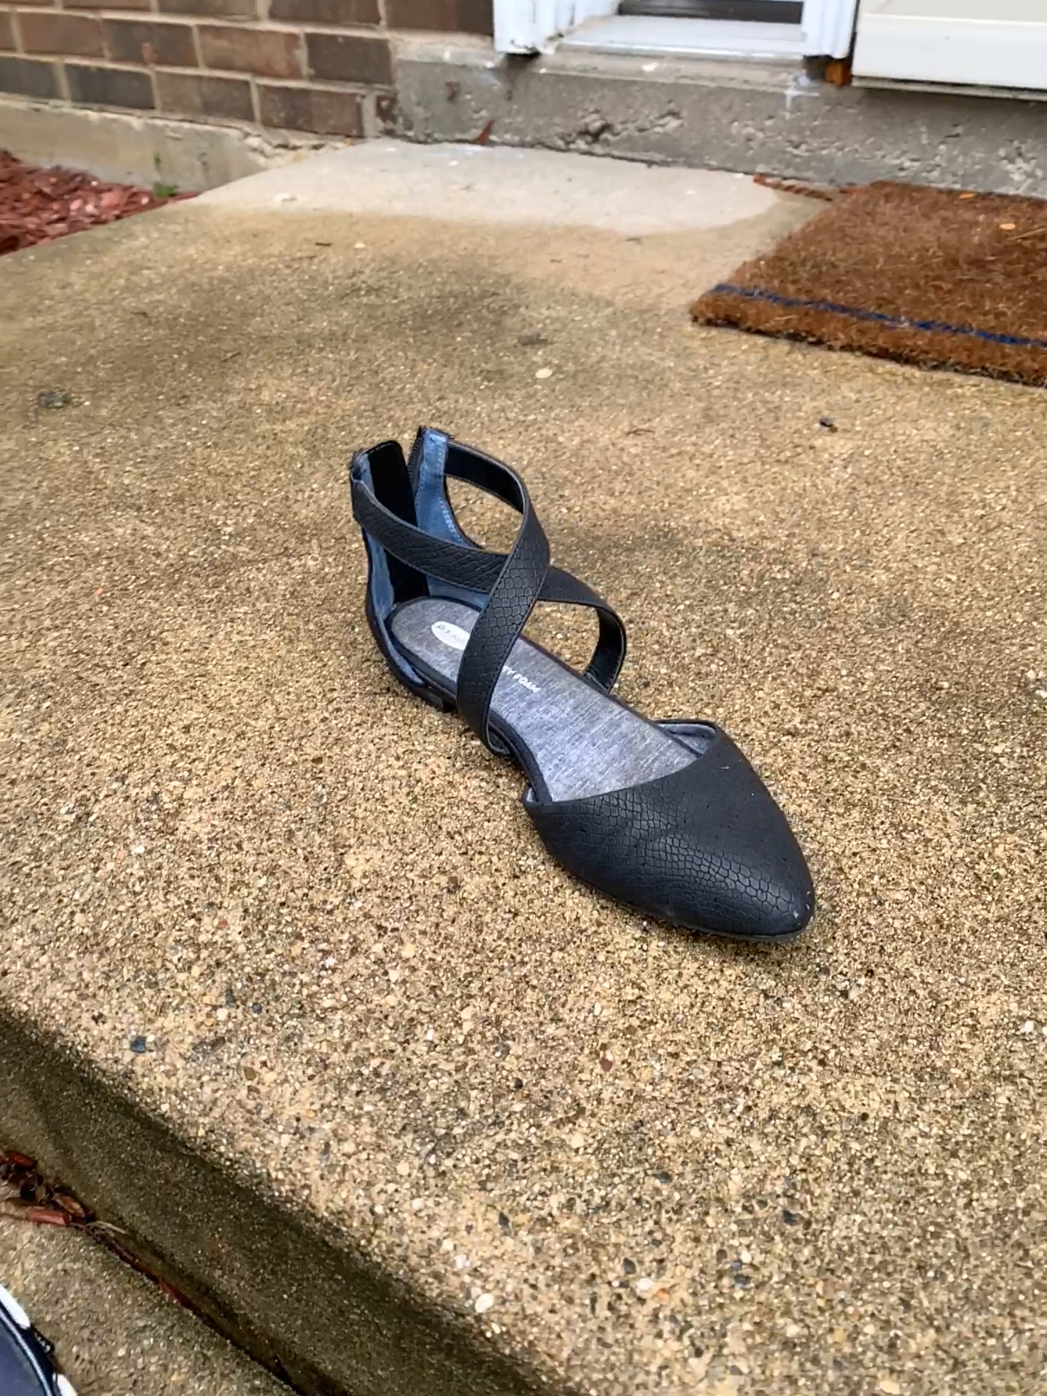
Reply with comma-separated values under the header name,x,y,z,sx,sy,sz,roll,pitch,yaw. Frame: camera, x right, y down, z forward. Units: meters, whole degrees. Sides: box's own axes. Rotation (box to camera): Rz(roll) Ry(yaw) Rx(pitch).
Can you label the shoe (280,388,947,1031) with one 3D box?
name,x,y,z,sx,sy,sz,roll,pitch,yaw
shoe,0.014,-0.017,0.428,0.097,0.112,0.264,-25,44,-27
